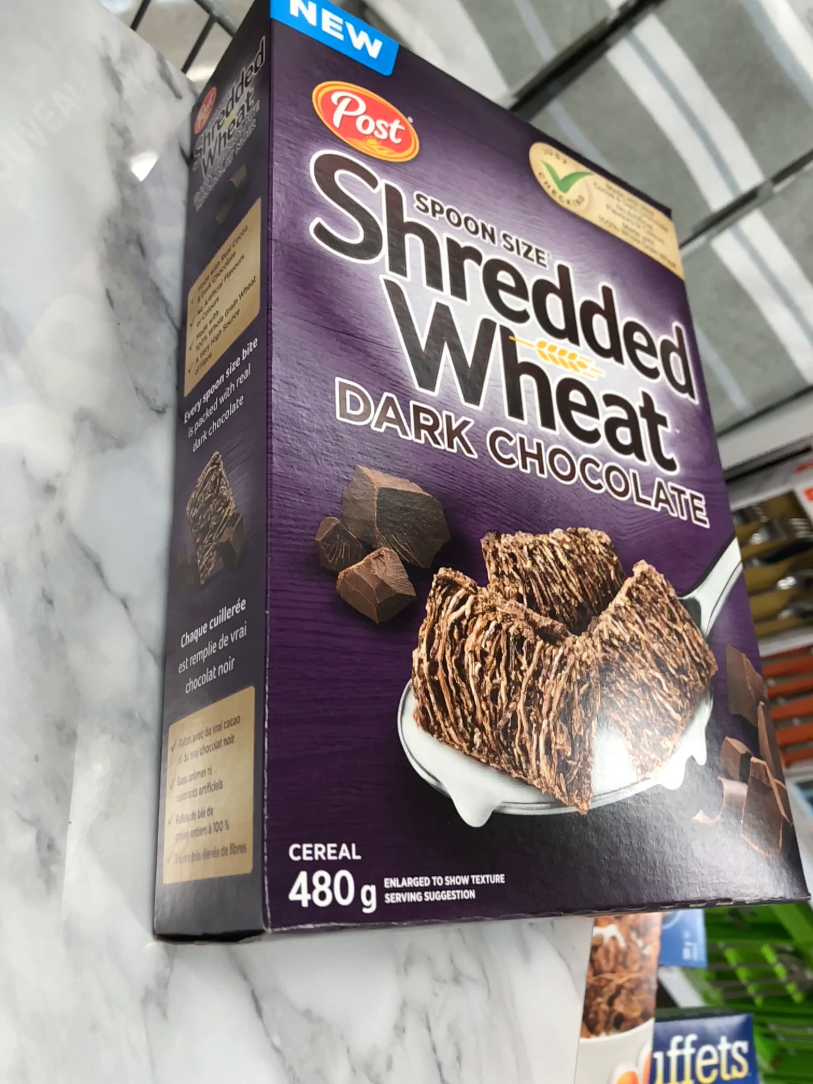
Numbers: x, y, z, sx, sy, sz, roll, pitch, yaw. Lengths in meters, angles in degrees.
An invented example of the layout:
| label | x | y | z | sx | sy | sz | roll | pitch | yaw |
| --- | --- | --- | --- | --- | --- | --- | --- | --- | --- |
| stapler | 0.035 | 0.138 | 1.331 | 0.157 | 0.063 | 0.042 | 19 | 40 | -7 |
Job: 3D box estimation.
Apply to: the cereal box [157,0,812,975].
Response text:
| label | x | y | z | sx | sy | sz | roll | pitch | yaw |
| --- | --- | --- | --- | --- | --- | --- | --- | --- | --- |
| cereal box | 0.030 | -0.025 | 0.305 | 0.191 | 0.070 | 0.290 | 14 | 64 | -37 |
